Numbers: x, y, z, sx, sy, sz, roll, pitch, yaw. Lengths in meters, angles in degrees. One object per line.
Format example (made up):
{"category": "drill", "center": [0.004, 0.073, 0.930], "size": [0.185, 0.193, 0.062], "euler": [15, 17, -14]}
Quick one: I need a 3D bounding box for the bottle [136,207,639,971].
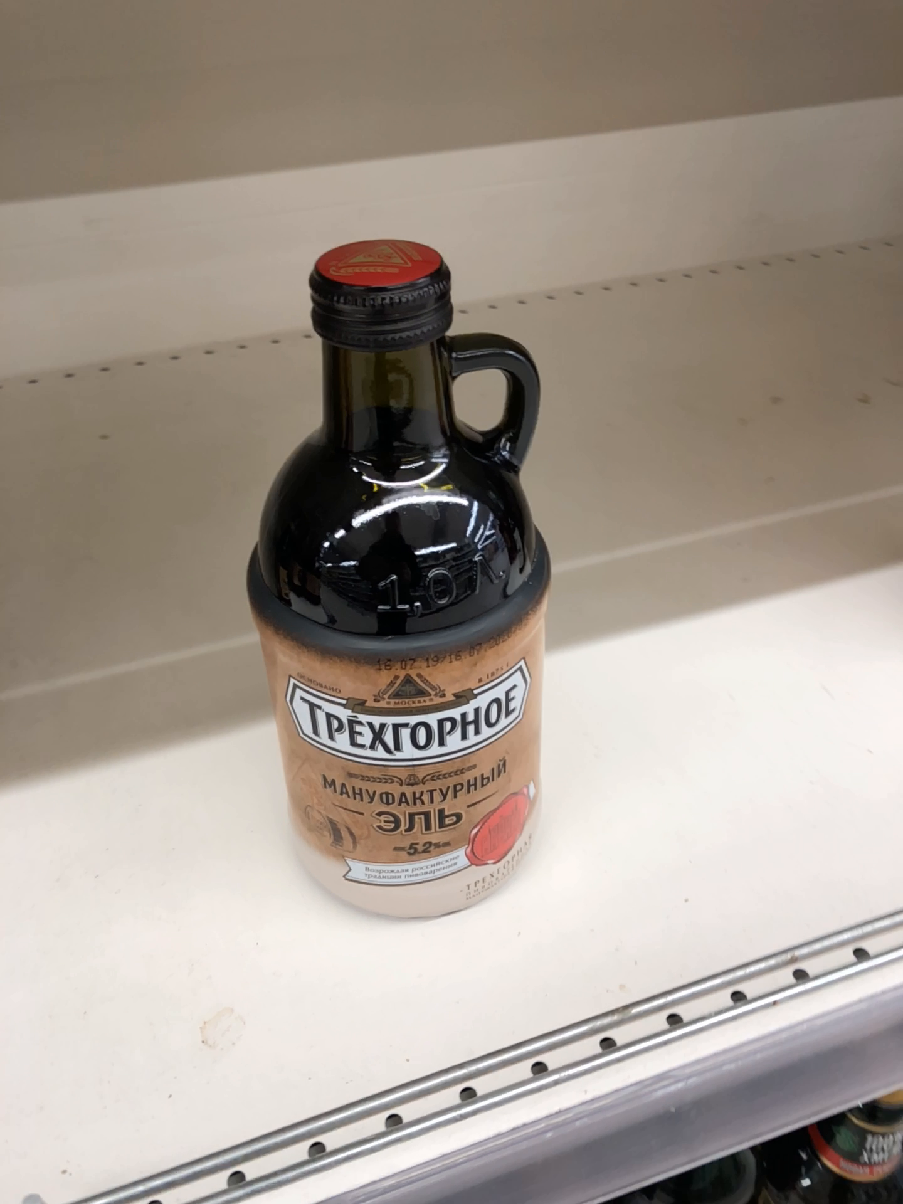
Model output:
{"category": "bottle", "center": [-0.017, 0.006, 0.327], "size": [0.110, 0.225, 0.101], "euler": [-1, 39, 1]}
